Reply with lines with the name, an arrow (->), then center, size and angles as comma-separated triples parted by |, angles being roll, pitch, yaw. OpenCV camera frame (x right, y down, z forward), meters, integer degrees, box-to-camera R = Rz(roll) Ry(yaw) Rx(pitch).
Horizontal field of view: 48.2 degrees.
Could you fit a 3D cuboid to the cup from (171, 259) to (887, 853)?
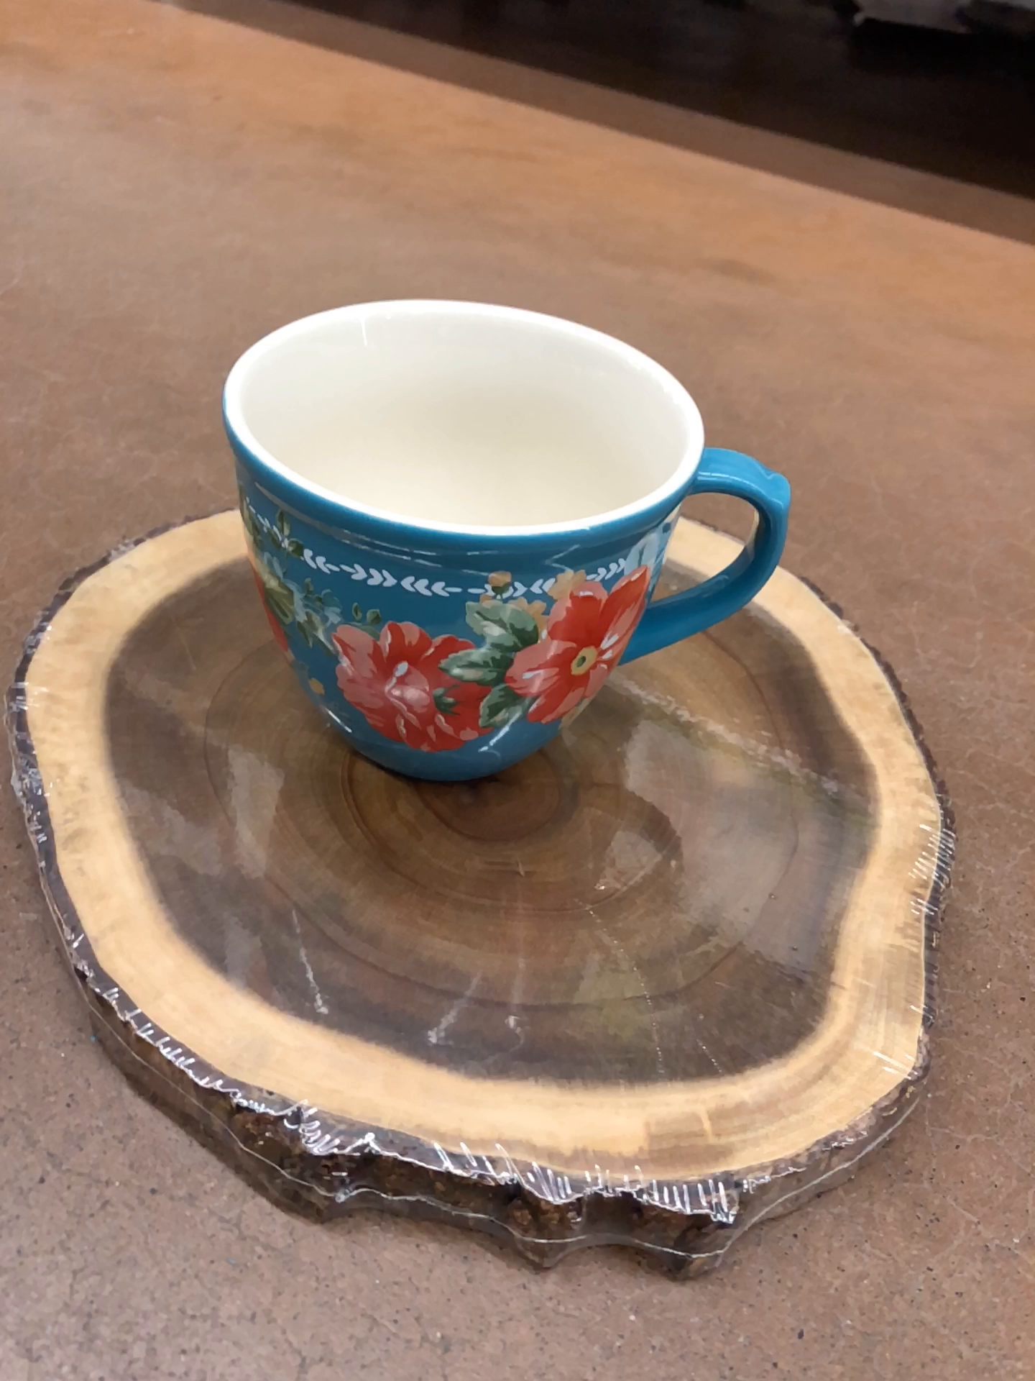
cup -> 0.003, -0.035, 0.272 | 0.130, 0.080, 0.100 | 8, 40, 0
